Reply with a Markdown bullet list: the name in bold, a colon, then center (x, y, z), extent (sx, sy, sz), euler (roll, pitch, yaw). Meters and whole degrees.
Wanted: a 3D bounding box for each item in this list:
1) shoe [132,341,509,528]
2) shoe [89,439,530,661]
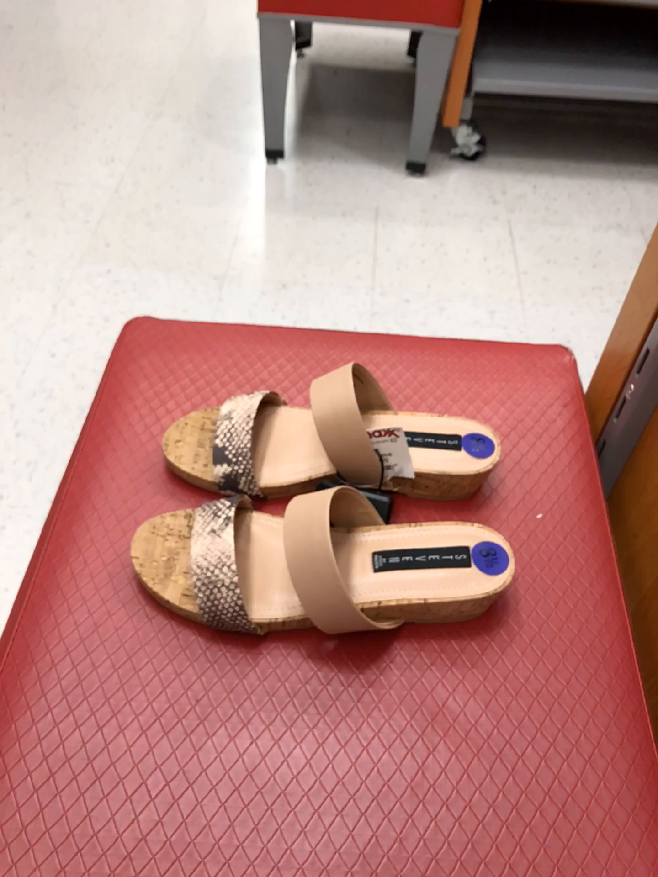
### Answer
- **shoe**: center (-0.005, -0.003, 0.560), extent (0.257, 0.085, 0.095), euler (4, 48, 0)
- **shoe**: center (-0.011, 0.074, 0.488), extent (0.257, 0.085, 0.096), euler (4, 48, 1)
